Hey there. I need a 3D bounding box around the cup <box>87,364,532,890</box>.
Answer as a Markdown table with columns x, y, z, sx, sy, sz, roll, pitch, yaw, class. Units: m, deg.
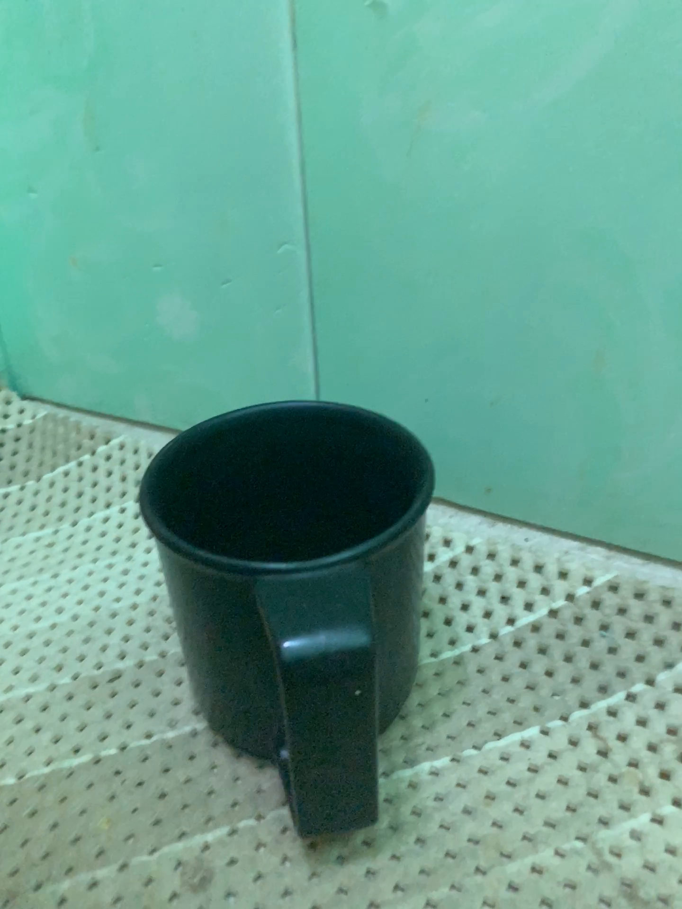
| x | y | z | sx | sy | sz | roll | pitch | yaw | class |
| --- | --- | --- | --- | --- | --- | --- | --- | --- | --- |
| -0.013 | 0.039 | 0.209 | 0.090 | 0.082 | 0.112 | -8 | 32 | -8 | cup |
